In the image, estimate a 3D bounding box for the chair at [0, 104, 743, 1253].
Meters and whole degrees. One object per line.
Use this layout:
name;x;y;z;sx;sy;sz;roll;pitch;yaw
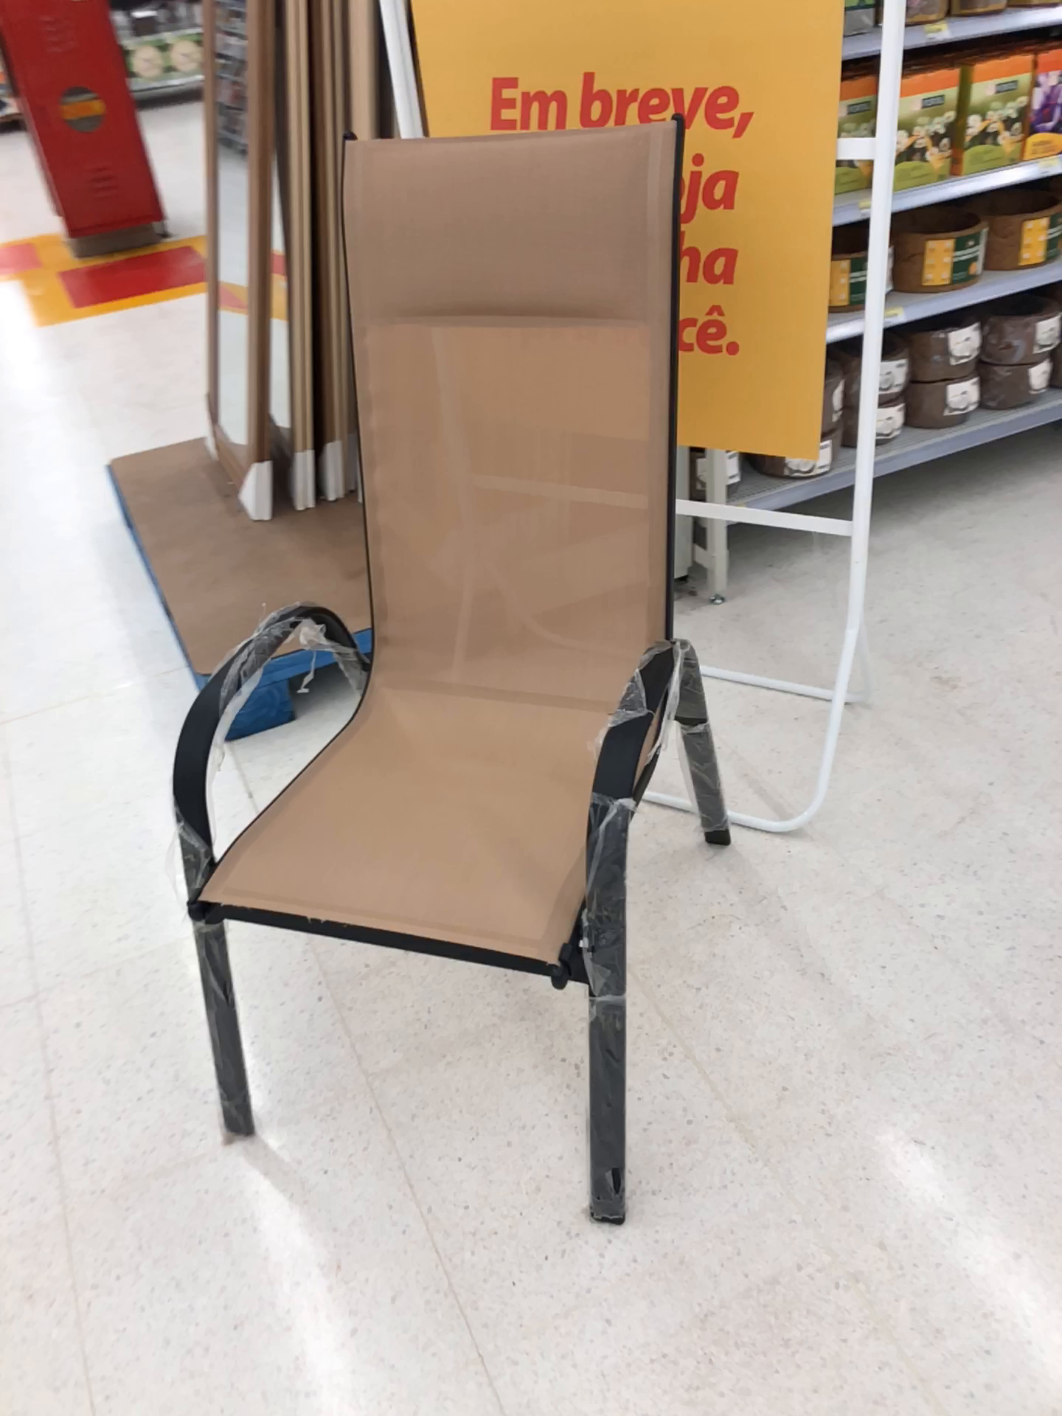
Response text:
chair;-0.135;-0.058;1.313;0.621;0.972;0.705;6;37;18
